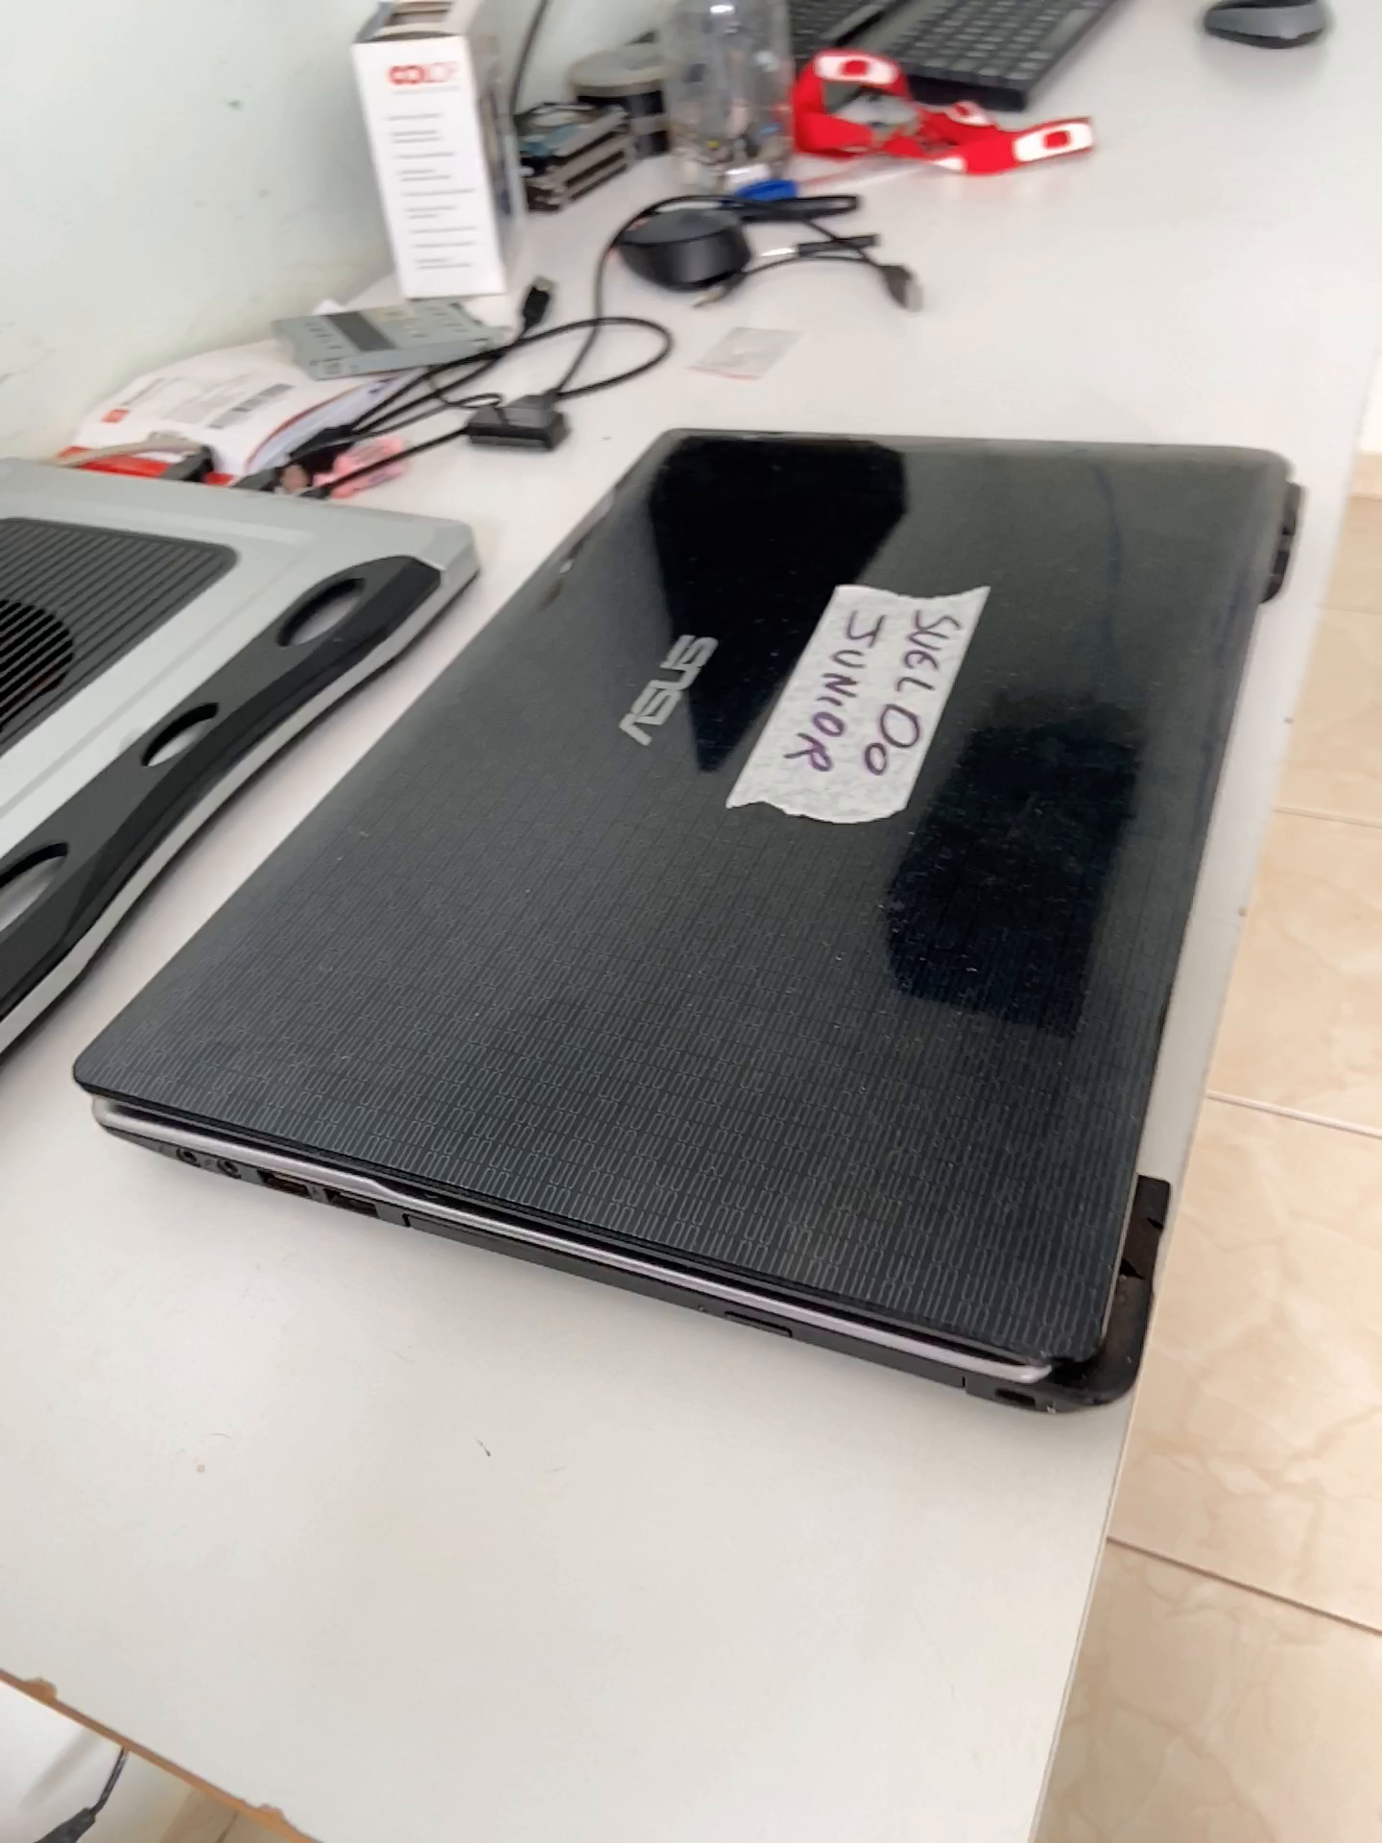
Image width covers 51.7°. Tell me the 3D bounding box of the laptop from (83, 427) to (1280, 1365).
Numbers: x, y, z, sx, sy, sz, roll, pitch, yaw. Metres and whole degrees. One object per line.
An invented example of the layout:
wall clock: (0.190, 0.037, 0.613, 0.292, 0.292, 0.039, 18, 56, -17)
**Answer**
laptop: (0.030, -0.061, 0.419, 0.236, 0.001, 0.364, 10, 45, 21)
